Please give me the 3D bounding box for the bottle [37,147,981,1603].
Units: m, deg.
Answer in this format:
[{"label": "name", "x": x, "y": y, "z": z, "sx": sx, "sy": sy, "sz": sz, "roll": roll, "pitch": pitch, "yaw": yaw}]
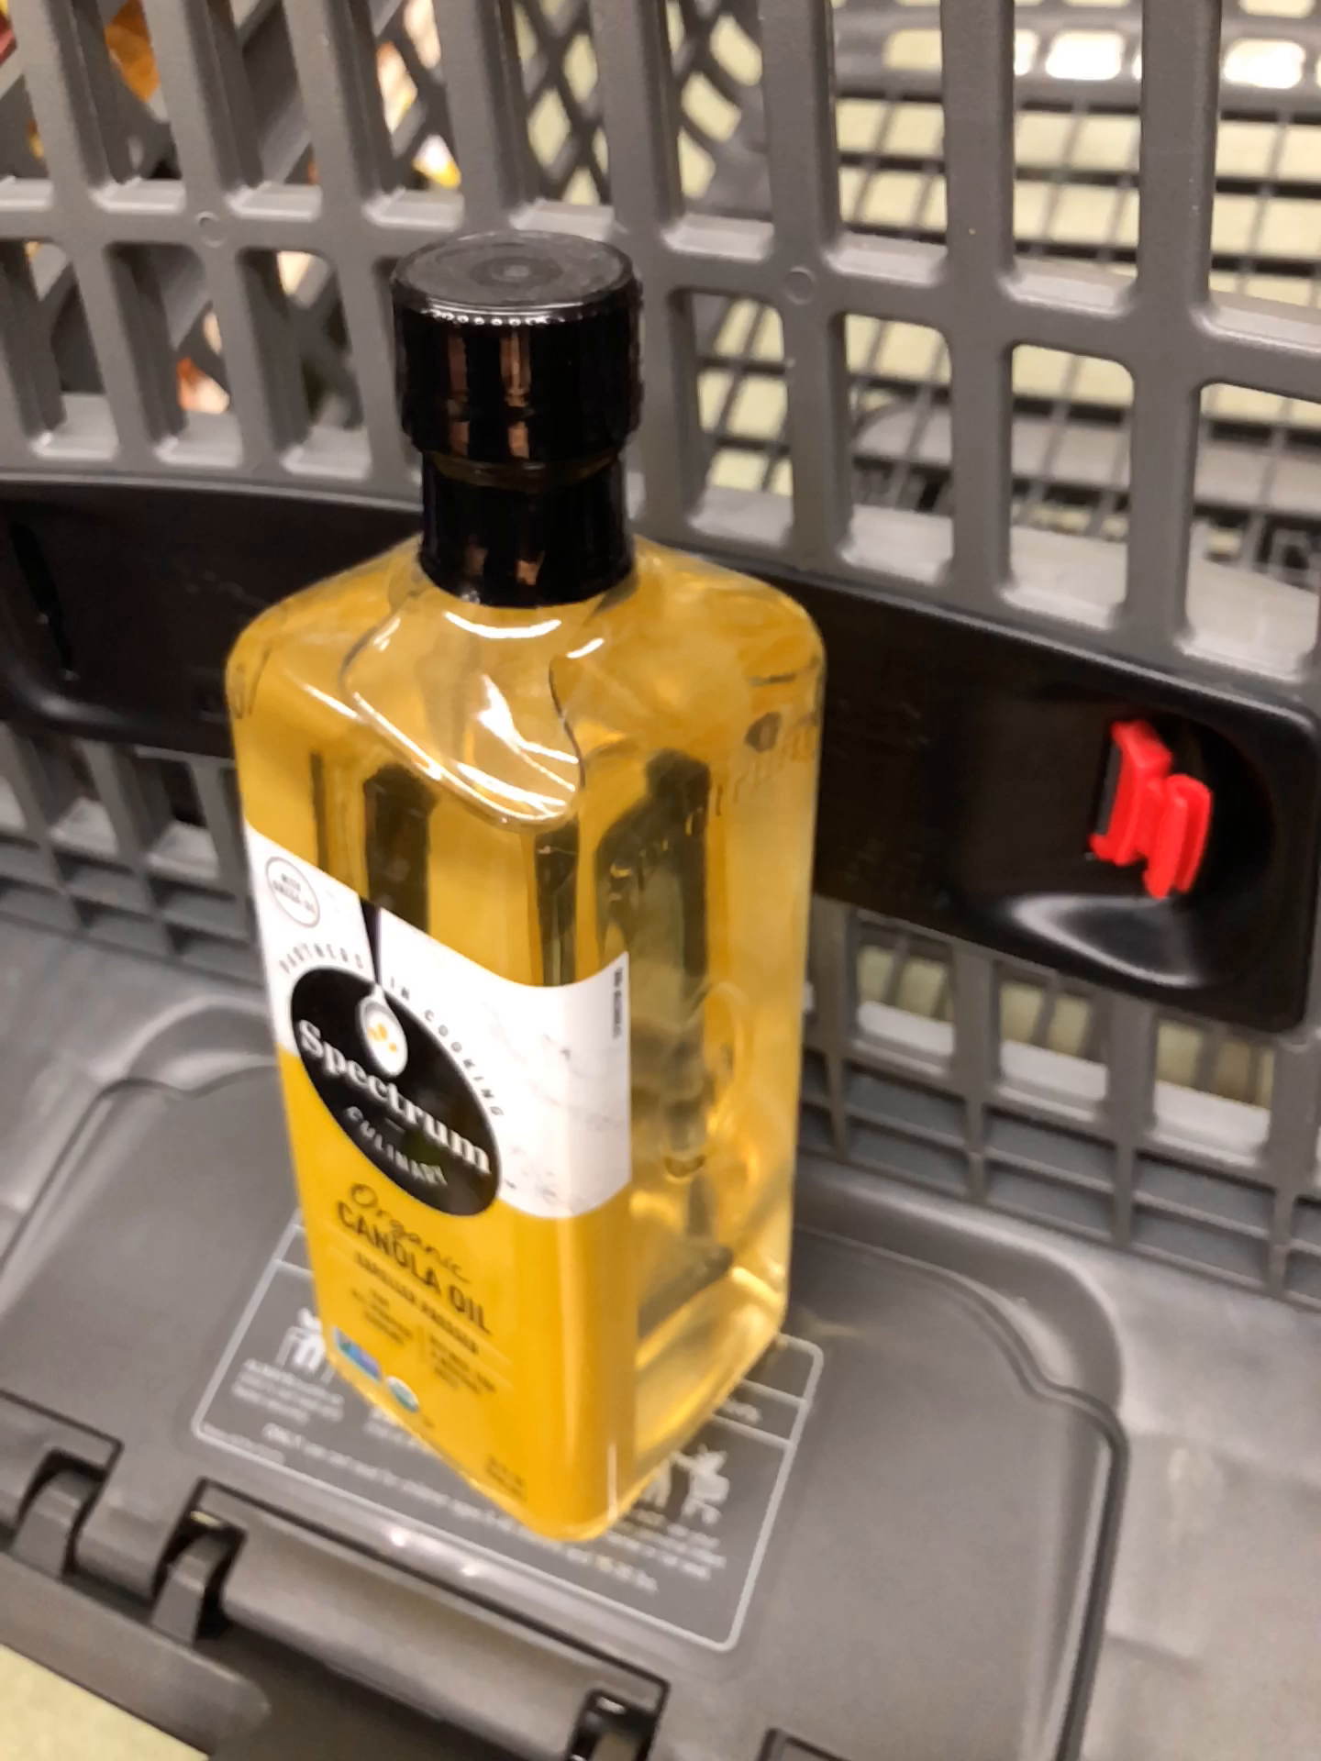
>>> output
[{"label": "bottle", "x": -0.021, "y": 0.014, "z": 0.281, "sx": 0.090, "sy": 0.250, "sz": 0.090, "roll": 1, "pitch": 39, "yaw": -1}]
